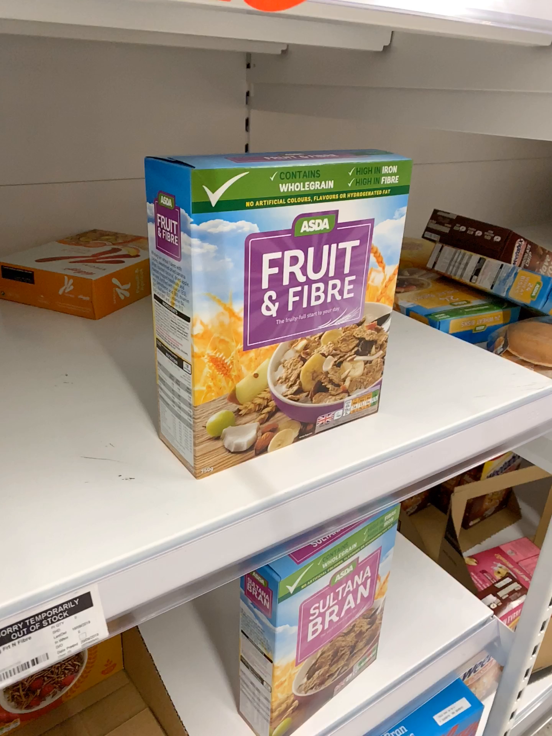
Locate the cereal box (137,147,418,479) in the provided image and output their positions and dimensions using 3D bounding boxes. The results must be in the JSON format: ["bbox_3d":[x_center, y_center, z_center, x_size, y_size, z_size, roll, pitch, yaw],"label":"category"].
[{"bbox_3d":[0.004,-0.062,0.527,0.231,0.258,0.080,-15,31,-32],"label":"cereal box"}]
